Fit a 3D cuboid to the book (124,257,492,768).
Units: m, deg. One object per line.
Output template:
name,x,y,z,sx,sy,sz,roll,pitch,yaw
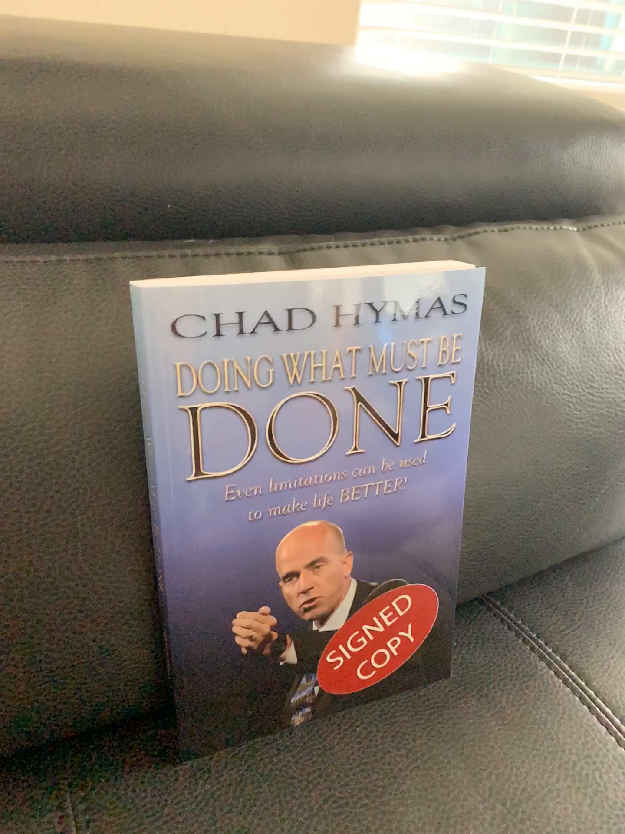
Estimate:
book,0.002,0.043,0.306,0.157,0.225,0.025,-7,19,-21
